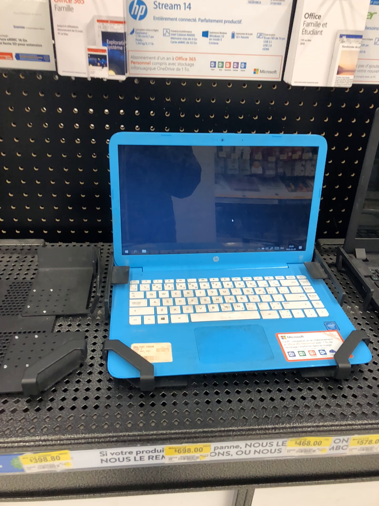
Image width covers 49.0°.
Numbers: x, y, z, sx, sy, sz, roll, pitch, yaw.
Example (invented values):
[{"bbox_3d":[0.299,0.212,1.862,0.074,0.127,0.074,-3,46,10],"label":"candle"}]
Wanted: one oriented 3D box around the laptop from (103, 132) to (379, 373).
[{"bbox_3d":[0.057,-0.021,0.565,0.319,0.197,0.270,-2,33,-6],"label":"laptop"}]
